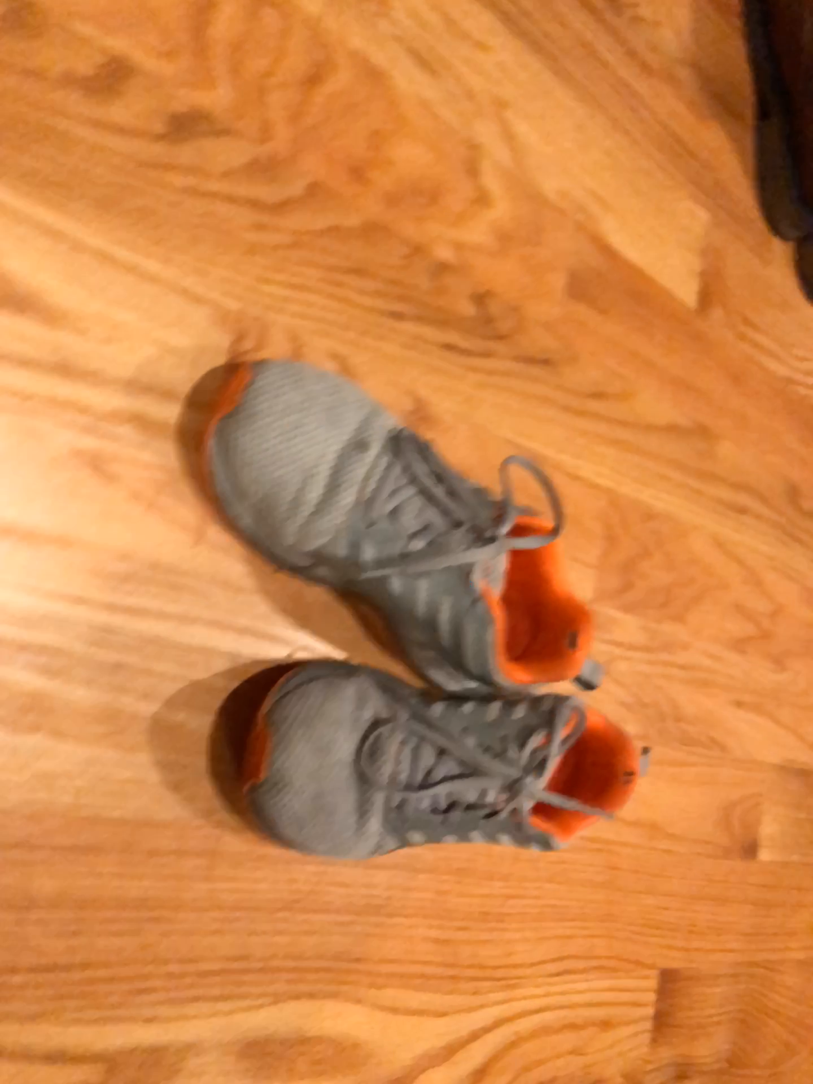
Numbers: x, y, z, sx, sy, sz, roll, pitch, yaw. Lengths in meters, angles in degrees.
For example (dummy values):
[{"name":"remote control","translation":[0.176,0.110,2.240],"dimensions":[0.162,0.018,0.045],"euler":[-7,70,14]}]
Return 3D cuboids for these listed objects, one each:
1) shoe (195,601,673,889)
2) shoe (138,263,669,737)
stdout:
[{"name":"shoe","translation":[0.029,0.100,0.471],"dimensions":[0.251,0.080,0.110],"euler":[11,83,-40]},{"name":"shoe","translation":[0.013,-0.006,0.456],"dimensions":[0.250,0.100,0.100],"euler":[38,66,-33]}]
